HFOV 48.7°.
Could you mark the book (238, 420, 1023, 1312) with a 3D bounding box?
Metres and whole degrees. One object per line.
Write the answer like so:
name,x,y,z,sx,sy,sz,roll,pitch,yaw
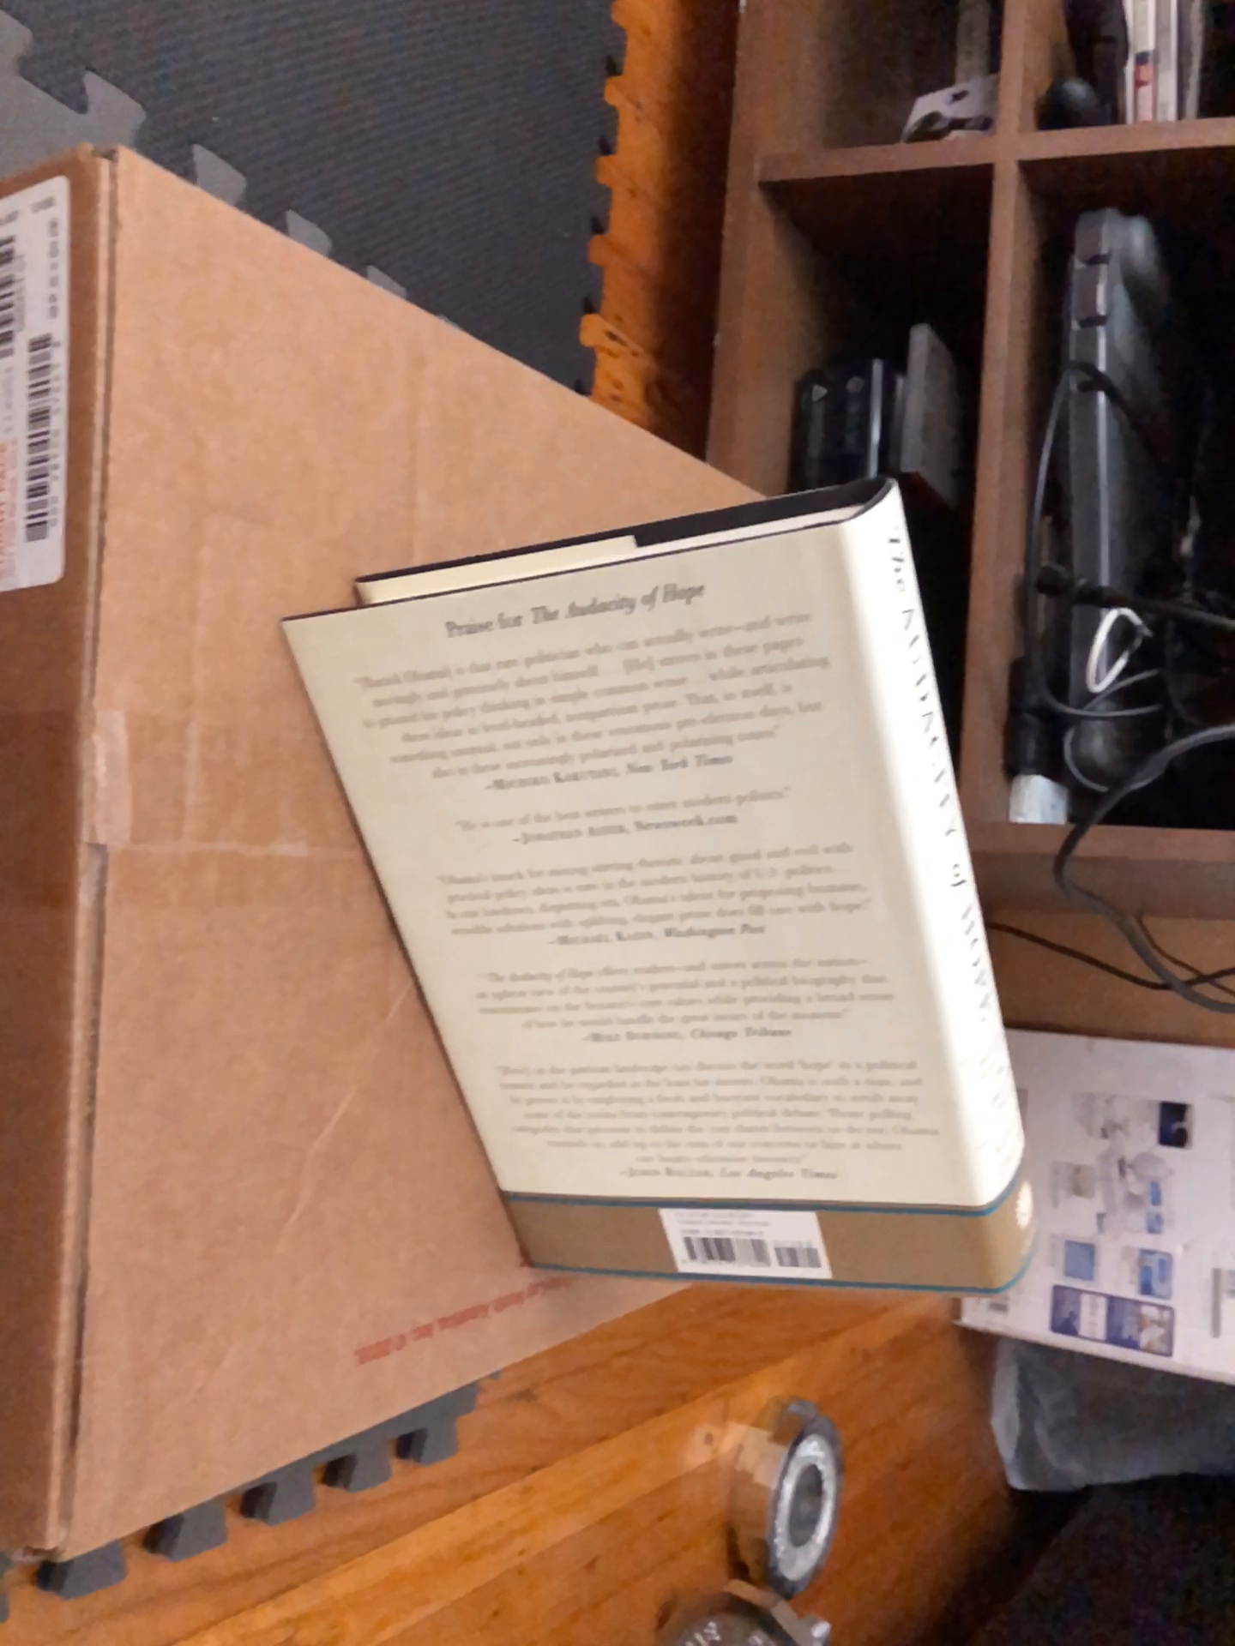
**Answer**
book,0.016,0.026,0.410,0.060,0.169,0.250,-56,136,-55
